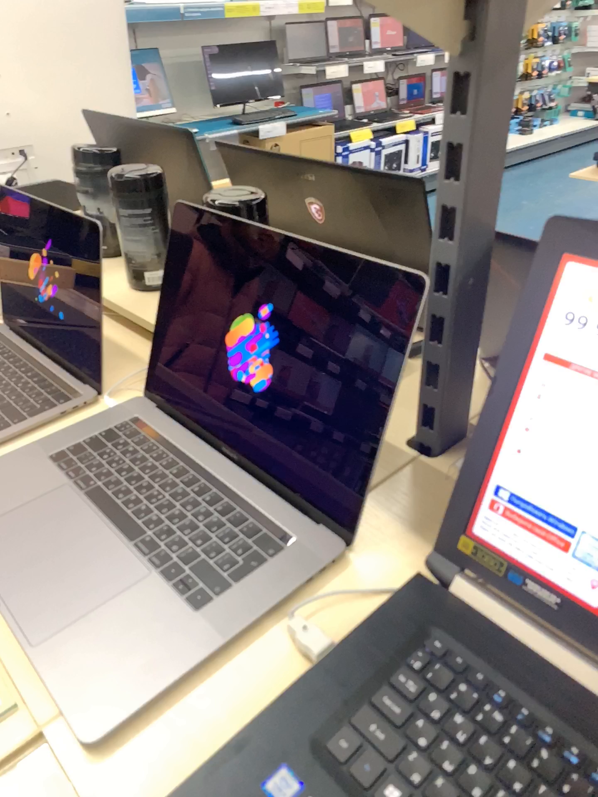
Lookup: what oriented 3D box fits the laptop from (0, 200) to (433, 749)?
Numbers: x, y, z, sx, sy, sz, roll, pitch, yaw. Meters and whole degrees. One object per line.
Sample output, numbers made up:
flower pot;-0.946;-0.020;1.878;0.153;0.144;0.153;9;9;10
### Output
laptop;-0.133;-0.001;0.521;0.325;0.210;0.346;-28;40;-34
